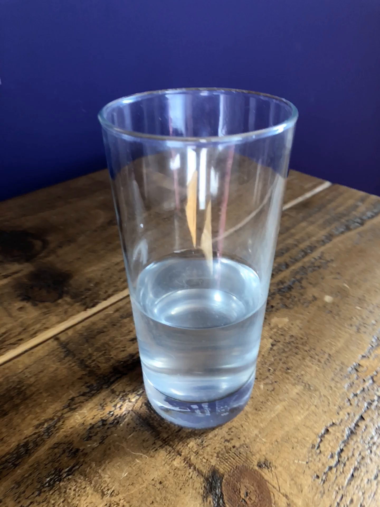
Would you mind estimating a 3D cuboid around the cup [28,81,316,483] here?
[{"bbox_3d":[-0.003,0.011,0.196,0.077,0.152,0.074,-1,32,1],"label":"cup"}]
